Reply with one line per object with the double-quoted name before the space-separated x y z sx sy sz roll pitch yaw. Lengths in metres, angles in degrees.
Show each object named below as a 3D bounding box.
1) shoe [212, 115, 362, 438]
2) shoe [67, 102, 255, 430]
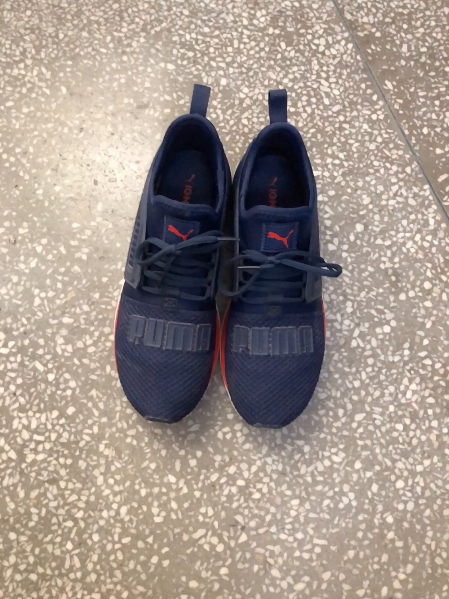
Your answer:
"shoe" 0.053 -0.014 0.448 0.107 0.113 0.257 5 76 -1
"shoe" -0.046 -0.023 0.447 0.107 0.113 0.257 8 76 0
